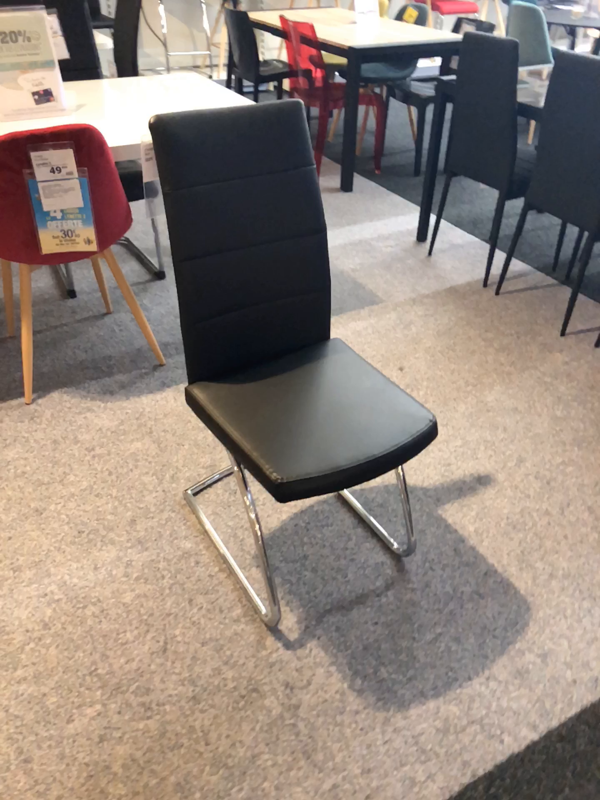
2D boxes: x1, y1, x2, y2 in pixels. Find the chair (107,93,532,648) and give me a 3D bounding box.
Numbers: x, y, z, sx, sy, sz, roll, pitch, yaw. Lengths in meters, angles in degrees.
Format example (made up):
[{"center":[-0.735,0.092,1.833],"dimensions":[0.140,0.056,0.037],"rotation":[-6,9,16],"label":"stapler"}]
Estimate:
[{"center":[-0.002,-0.076,1.373],"dimensions":[0.492,0.905,0.561],"rotation":[-20,41,-26],"label":"chair"}]
